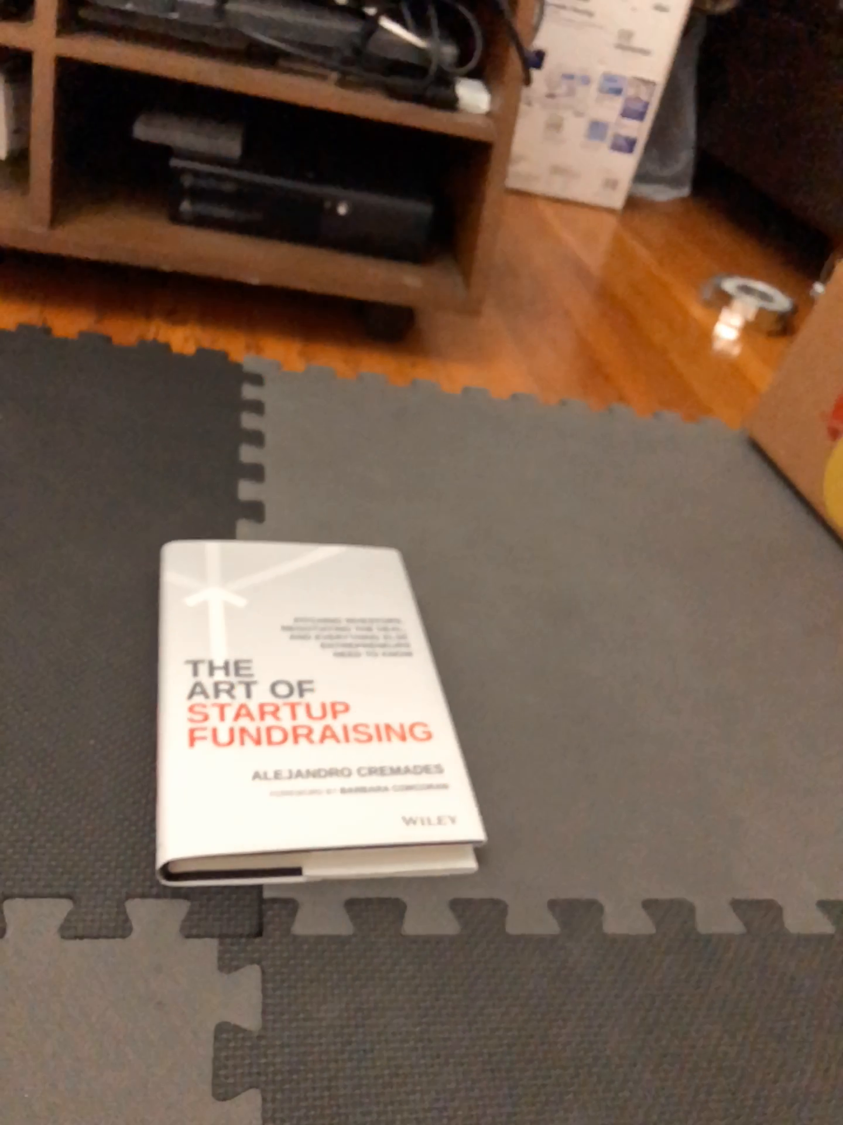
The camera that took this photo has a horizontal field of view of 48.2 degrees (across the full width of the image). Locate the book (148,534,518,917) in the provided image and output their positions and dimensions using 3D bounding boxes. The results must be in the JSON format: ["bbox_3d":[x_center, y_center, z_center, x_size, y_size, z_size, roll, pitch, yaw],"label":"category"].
[{"bbox_3d":[-0.061,0.075,0.535,0.170,0.030,0.251,3,37,-16],"label":"book"}]
